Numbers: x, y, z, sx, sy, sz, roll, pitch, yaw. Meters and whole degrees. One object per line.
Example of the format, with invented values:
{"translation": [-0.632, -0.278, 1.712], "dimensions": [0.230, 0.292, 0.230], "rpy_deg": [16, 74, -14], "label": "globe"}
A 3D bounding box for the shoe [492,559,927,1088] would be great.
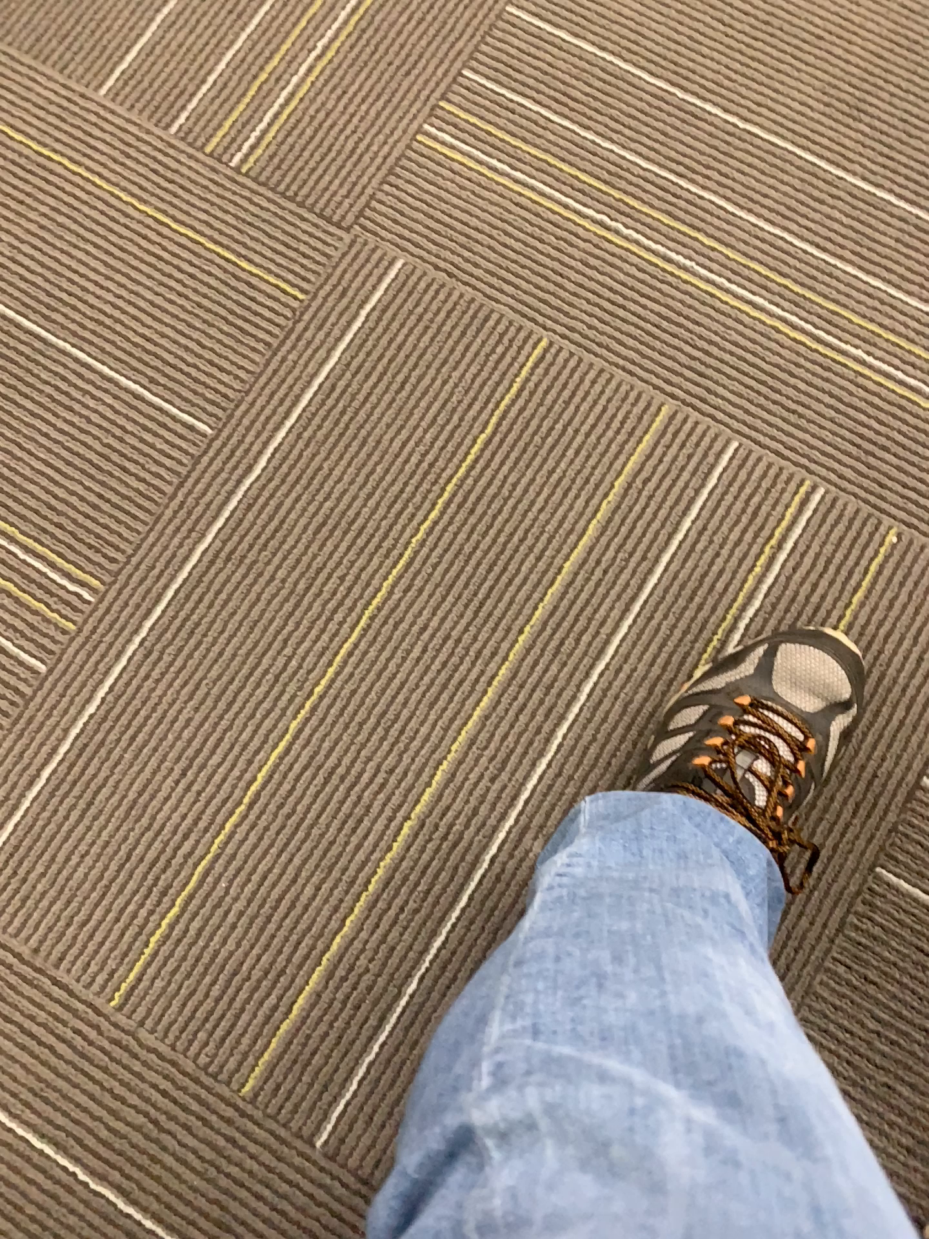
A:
{"translation": [0.164, 0.133, 0.662], "dimensions": [0.125, 0.095, 0.323], "rpy_deg": [35, 82, 7], "label": "shoe"}

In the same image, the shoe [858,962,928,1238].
{"translation": [0.437, 0.375, 0.608], "dimensions": [0.322, 0.095, 0.122], "rpy_deg": [-34, 80, -5], "label": "shoe"}
